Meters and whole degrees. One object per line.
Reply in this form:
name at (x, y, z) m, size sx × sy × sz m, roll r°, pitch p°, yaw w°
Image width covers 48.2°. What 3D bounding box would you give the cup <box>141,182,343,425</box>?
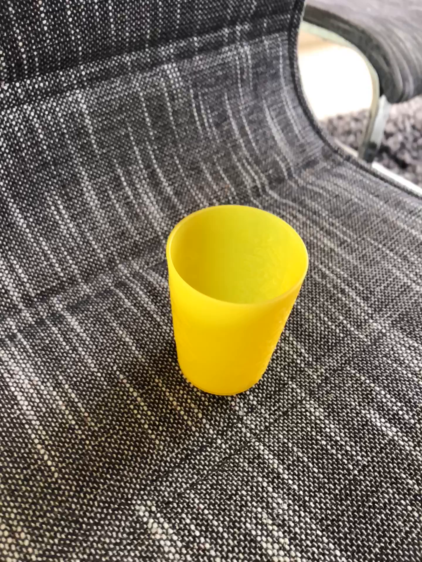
cup at (0.010, 0.011, 0.226) m, size 0.060 × 0.079 × 0.060 m, roll 3°, pitch 48°, yaw -4°
